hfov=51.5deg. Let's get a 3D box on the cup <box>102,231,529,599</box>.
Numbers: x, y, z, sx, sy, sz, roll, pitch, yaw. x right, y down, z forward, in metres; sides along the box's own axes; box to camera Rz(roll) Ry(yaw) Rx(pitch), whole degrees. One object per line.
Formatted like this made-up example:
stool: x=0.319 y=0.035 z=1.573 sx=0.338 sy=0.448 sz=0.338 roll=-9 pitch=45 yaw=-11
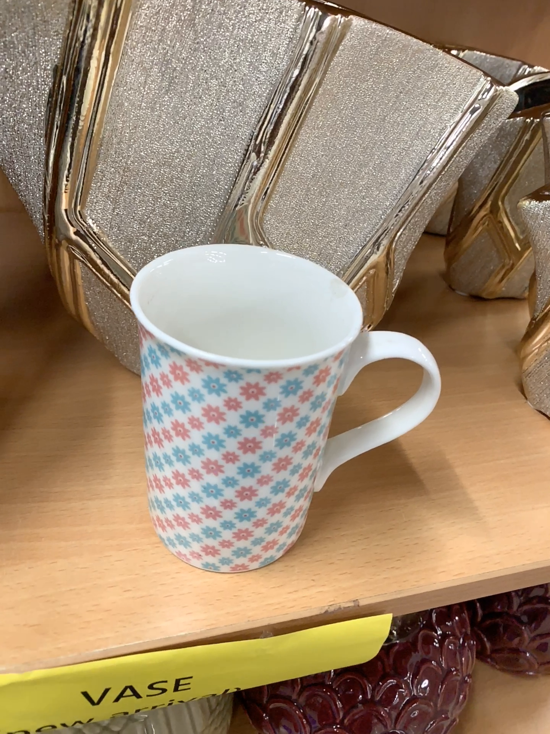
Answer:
cup: x=0.006 y=0.020 z=0.222 sx=0.120 sy=0.110 sz=0.080 roll=4 pitch=35 yaw=-5
